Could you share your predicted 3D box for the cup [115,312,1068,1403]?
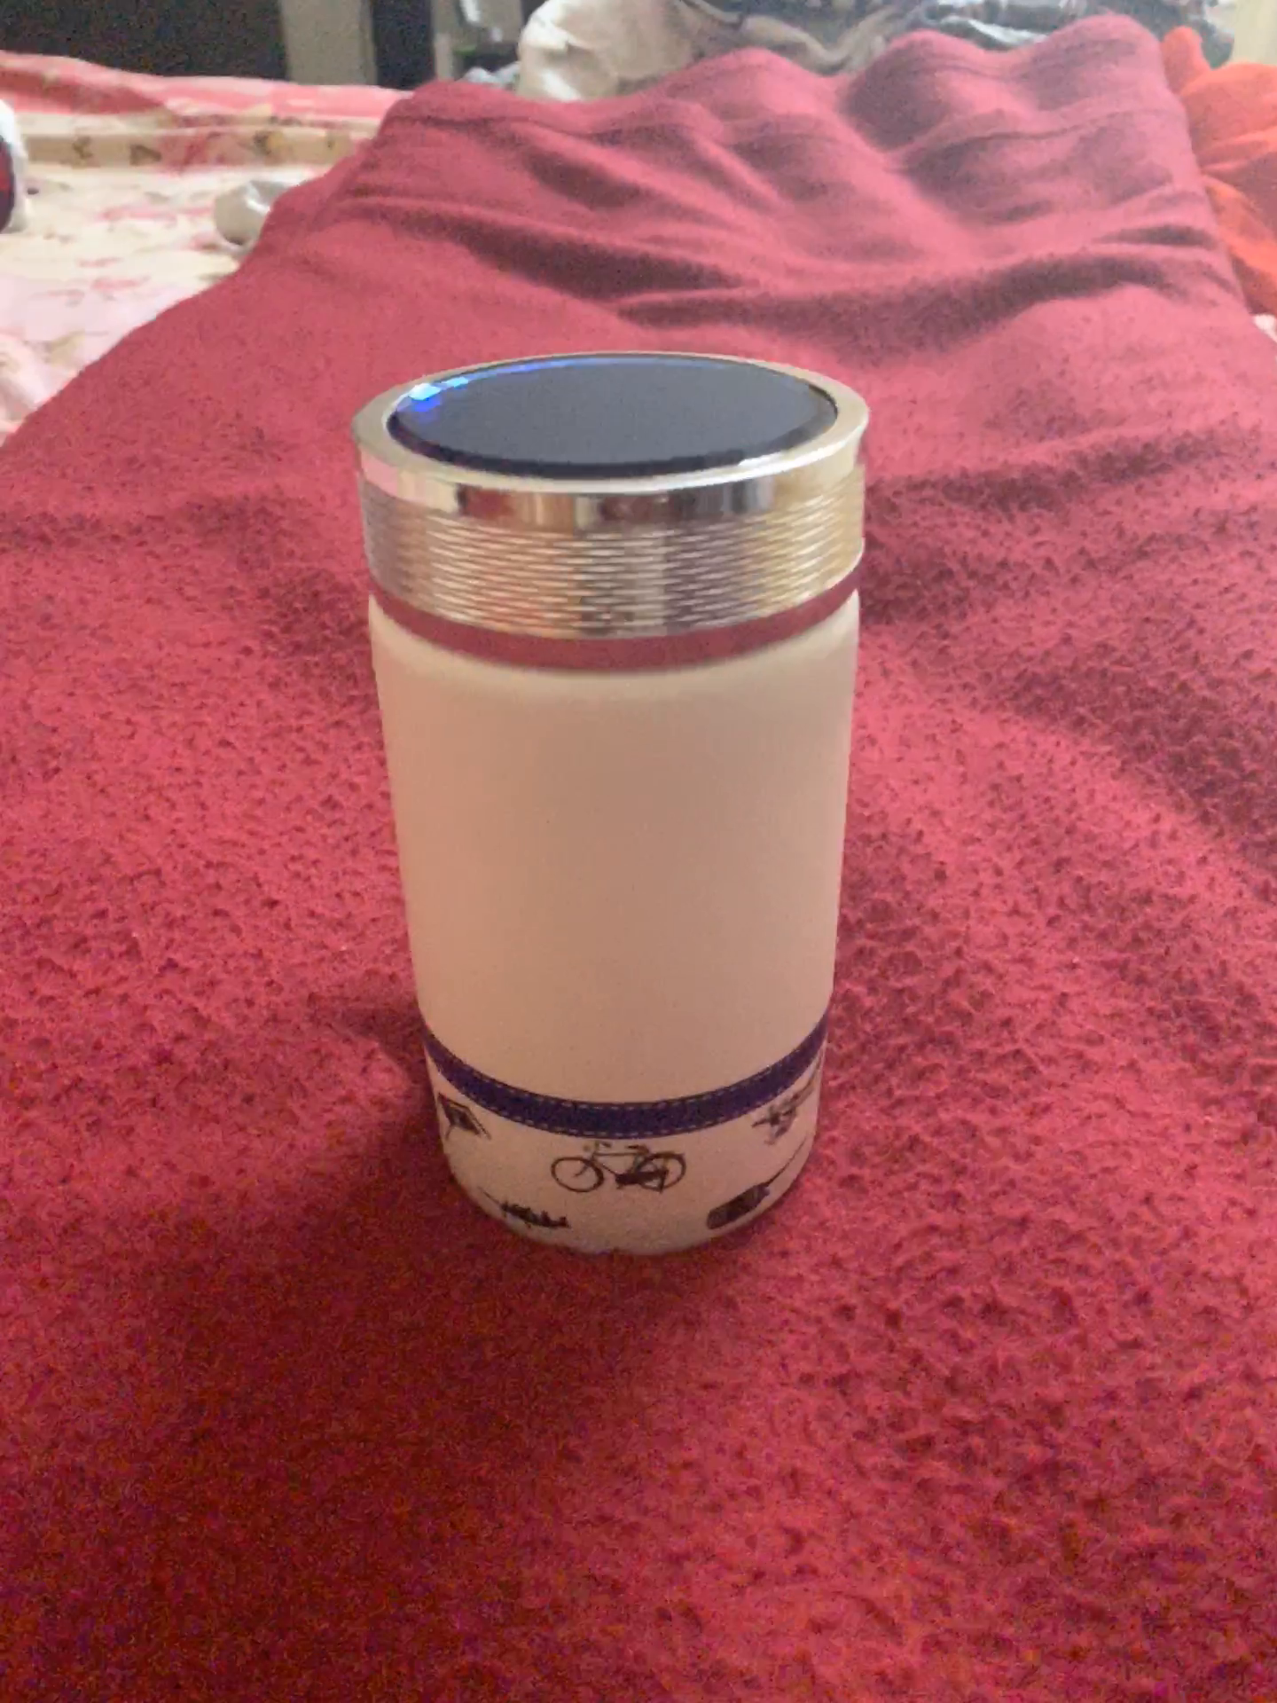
[{"bbox_3d":[-0.011,-0.010,0.240,0.090,0.139,0.121,-27,40,-35],"label":"cup"}]
